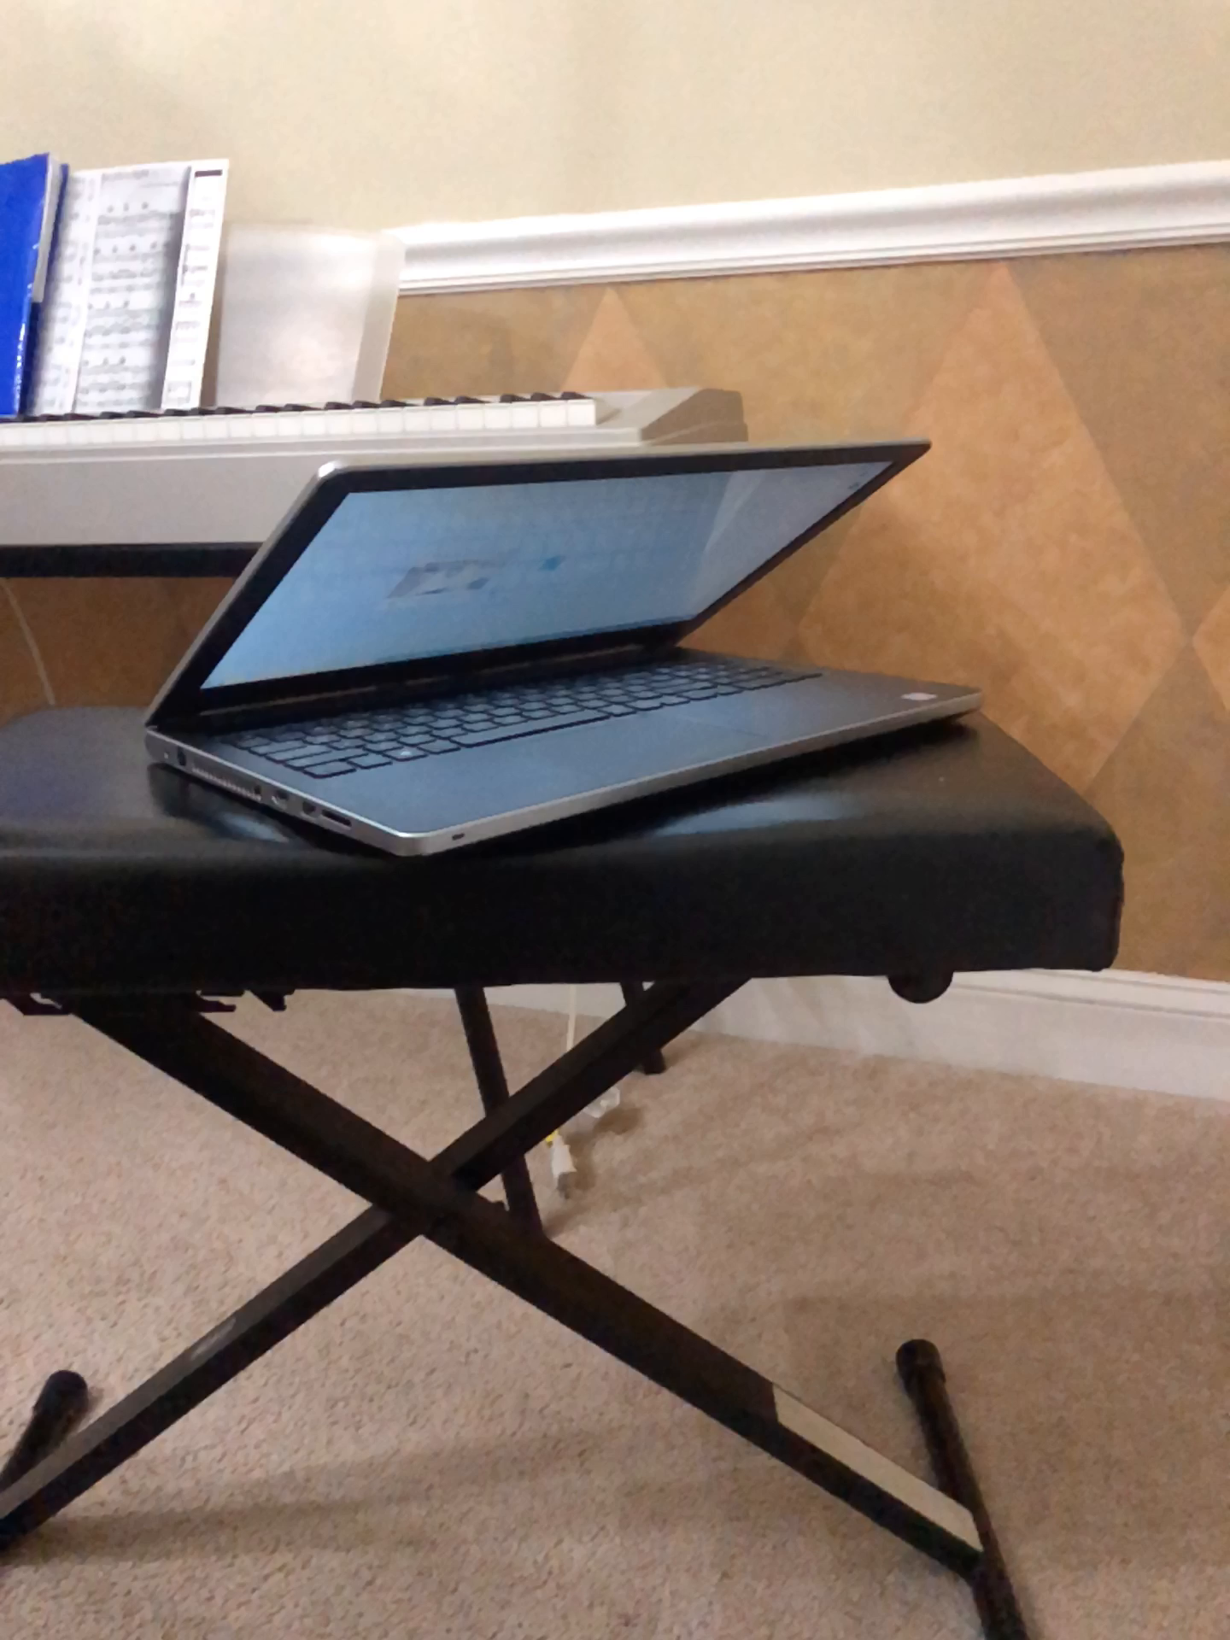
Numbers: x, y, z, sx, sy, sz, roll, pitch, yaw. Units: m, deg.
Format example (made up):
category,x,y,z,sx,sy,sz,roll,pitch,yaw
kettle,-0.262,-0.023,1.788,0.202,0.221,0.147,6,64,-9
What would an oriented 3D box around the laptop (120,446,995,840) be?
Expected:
category,x,y,z,sx,sy,sz,roll,pitch,yaw
laptop,-0.022,-0.124,0.733,0.376,0.137,0.262,-16,22,-38
